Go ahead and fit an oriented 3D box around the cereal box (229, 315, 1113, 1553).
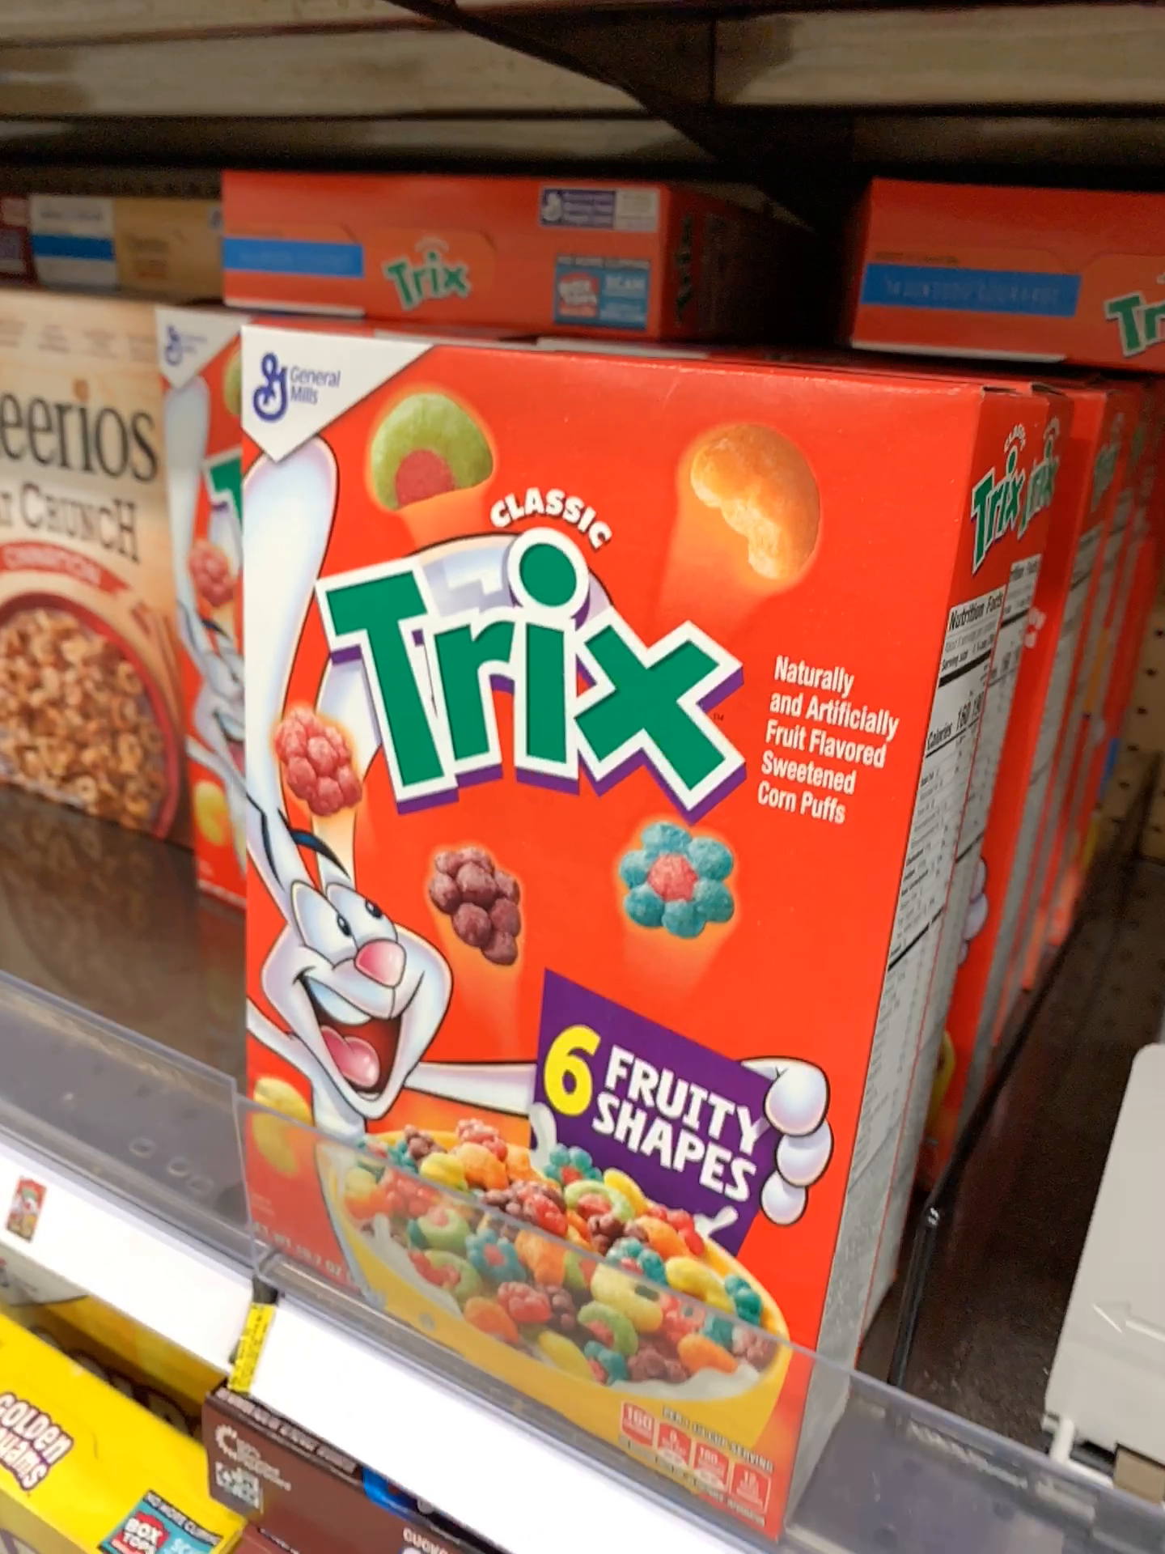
[{"bbox_3d":[0.002,0.036,0.332,0.200,0.289,0.060,15,23,27],"label":"cereal box"}]
